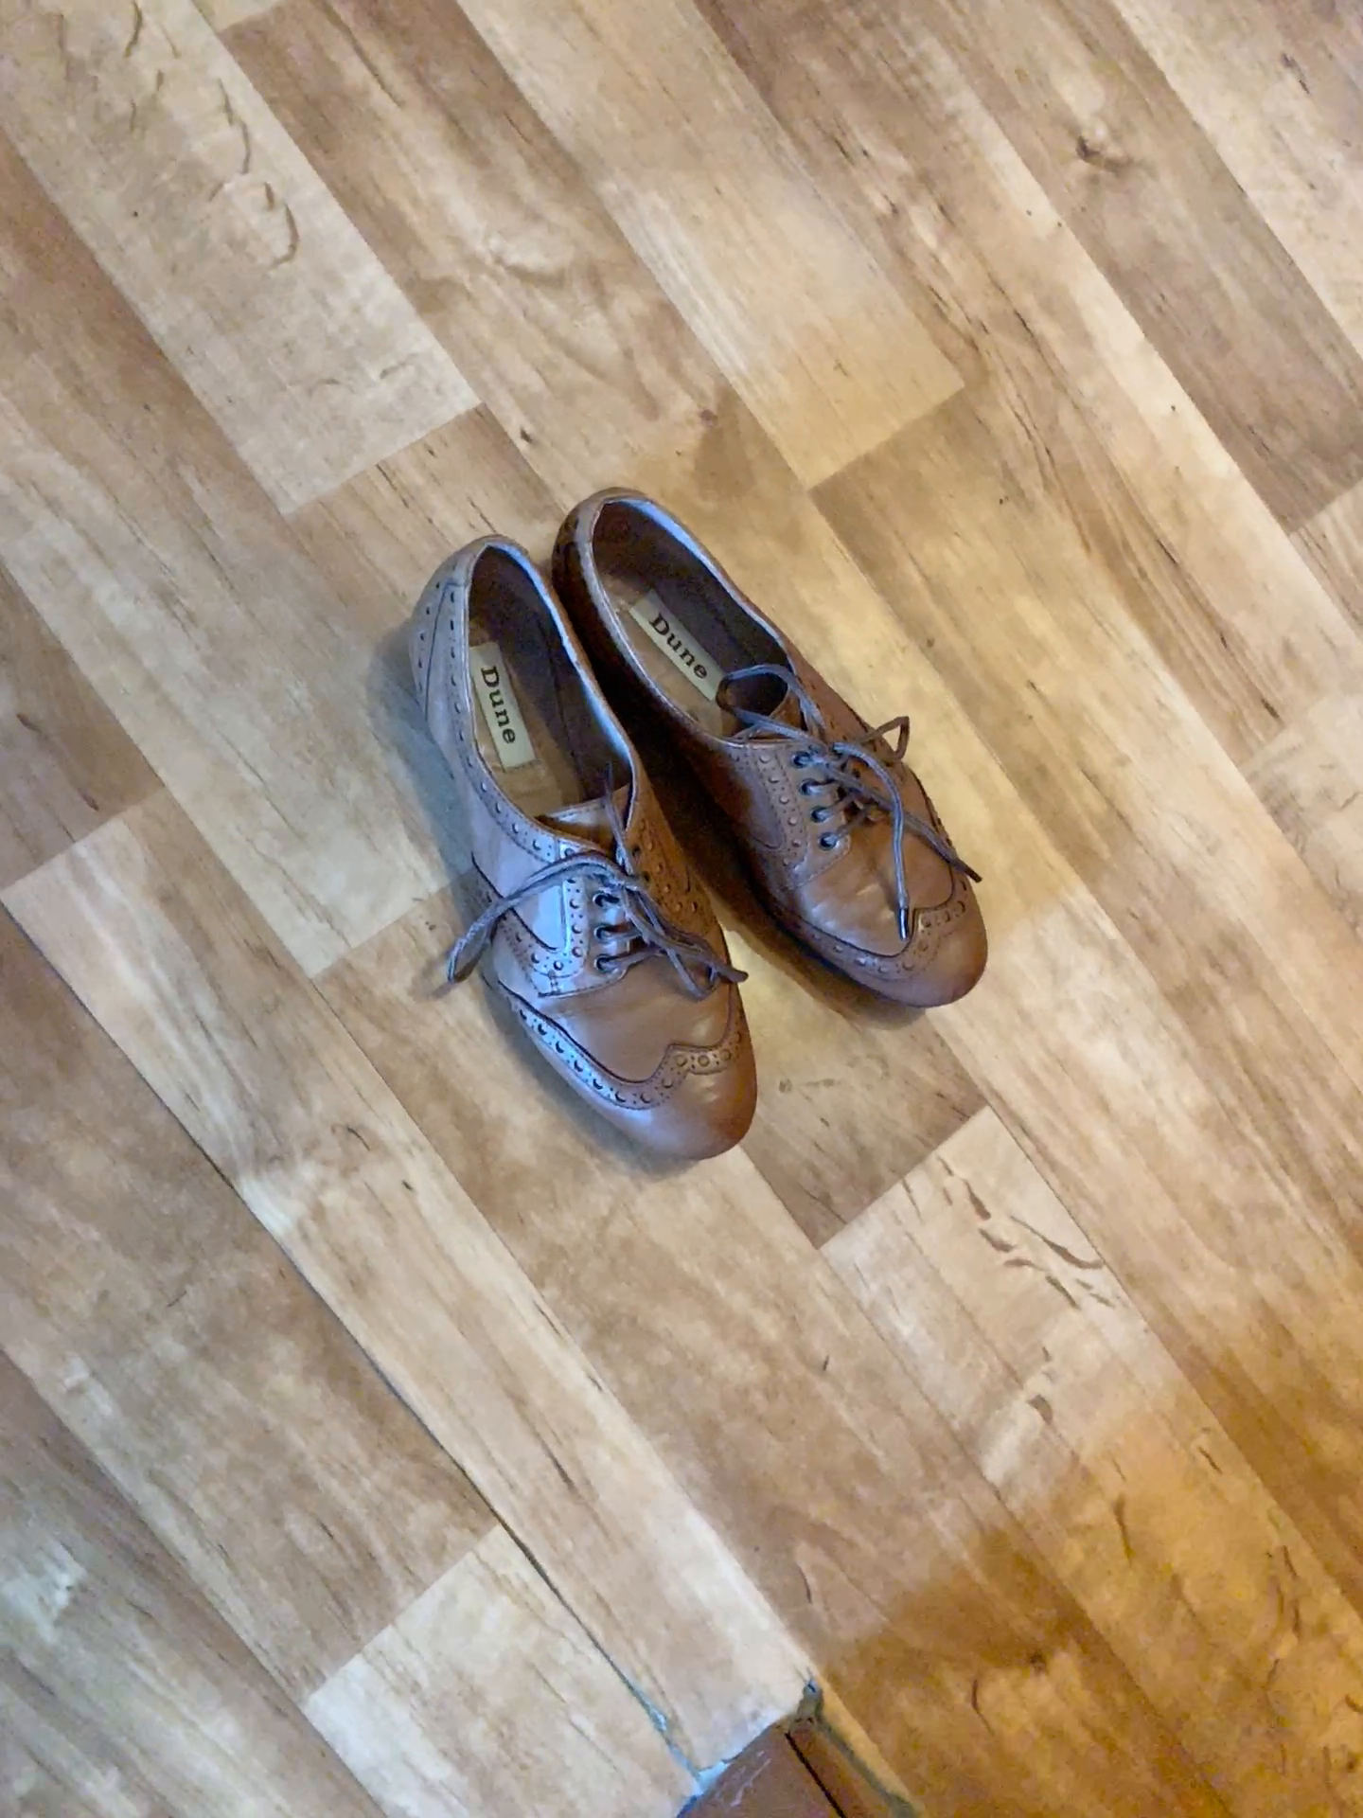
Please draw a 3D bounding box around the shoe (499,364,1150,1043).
[{"bbox_3d":[0.044,-0.064,0.525,0.080,0.120,0.230,-43,93,-15],"label":"shoe"}]

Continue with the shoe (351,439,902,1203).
[{"bbox_3d":[-0.030,-0.025,0.517,0.090,0.120,0.240,-25,89,-16],"label":"shoe"}]
